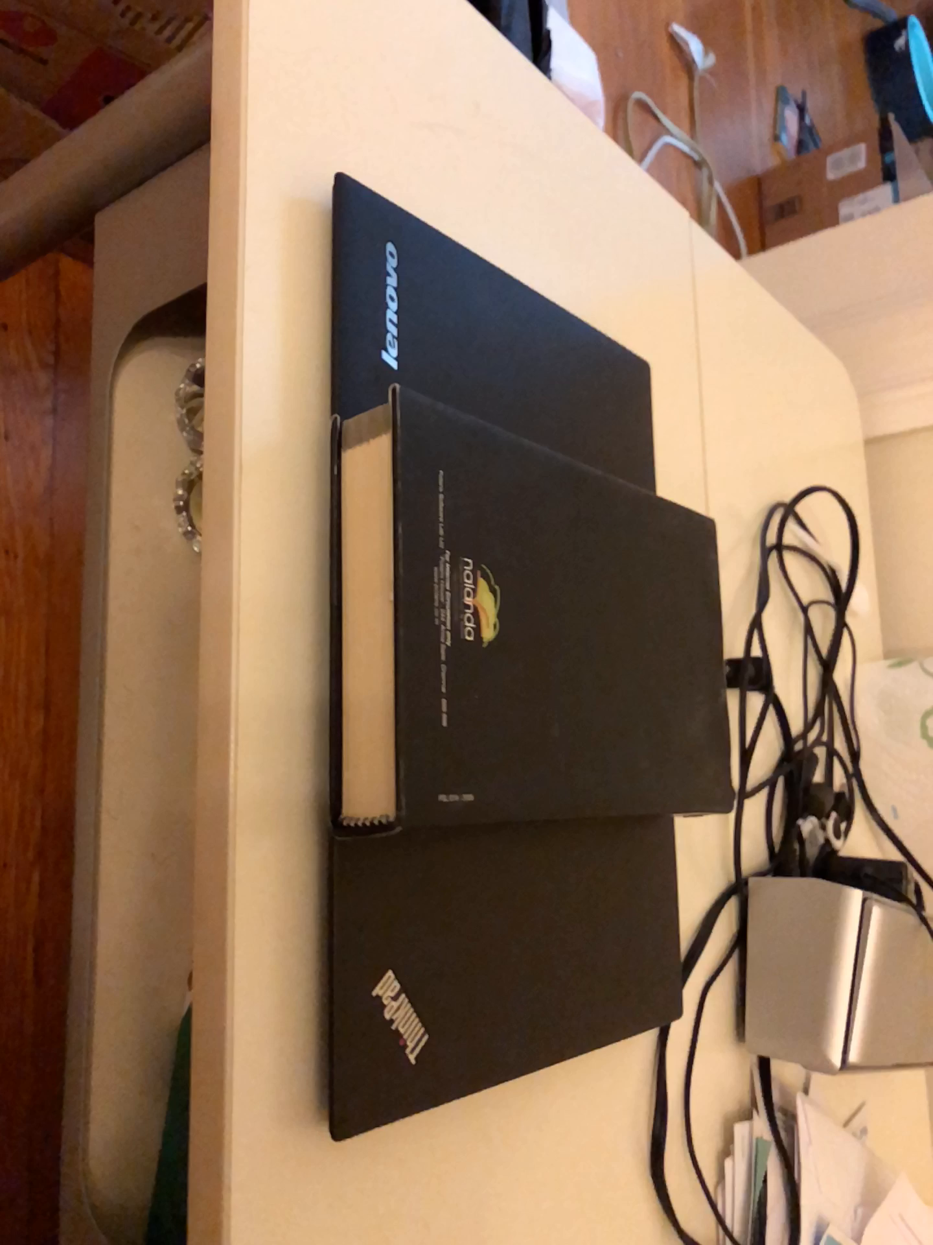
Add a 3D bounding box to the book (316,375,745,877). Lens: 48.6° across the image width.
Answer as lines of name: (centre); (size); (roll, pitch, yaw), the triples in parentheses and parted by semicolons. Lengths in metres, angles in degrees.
book: (0.039, 0.014, 0.406); (0.231, 0.040, 0.150); (11, 74, -52)
